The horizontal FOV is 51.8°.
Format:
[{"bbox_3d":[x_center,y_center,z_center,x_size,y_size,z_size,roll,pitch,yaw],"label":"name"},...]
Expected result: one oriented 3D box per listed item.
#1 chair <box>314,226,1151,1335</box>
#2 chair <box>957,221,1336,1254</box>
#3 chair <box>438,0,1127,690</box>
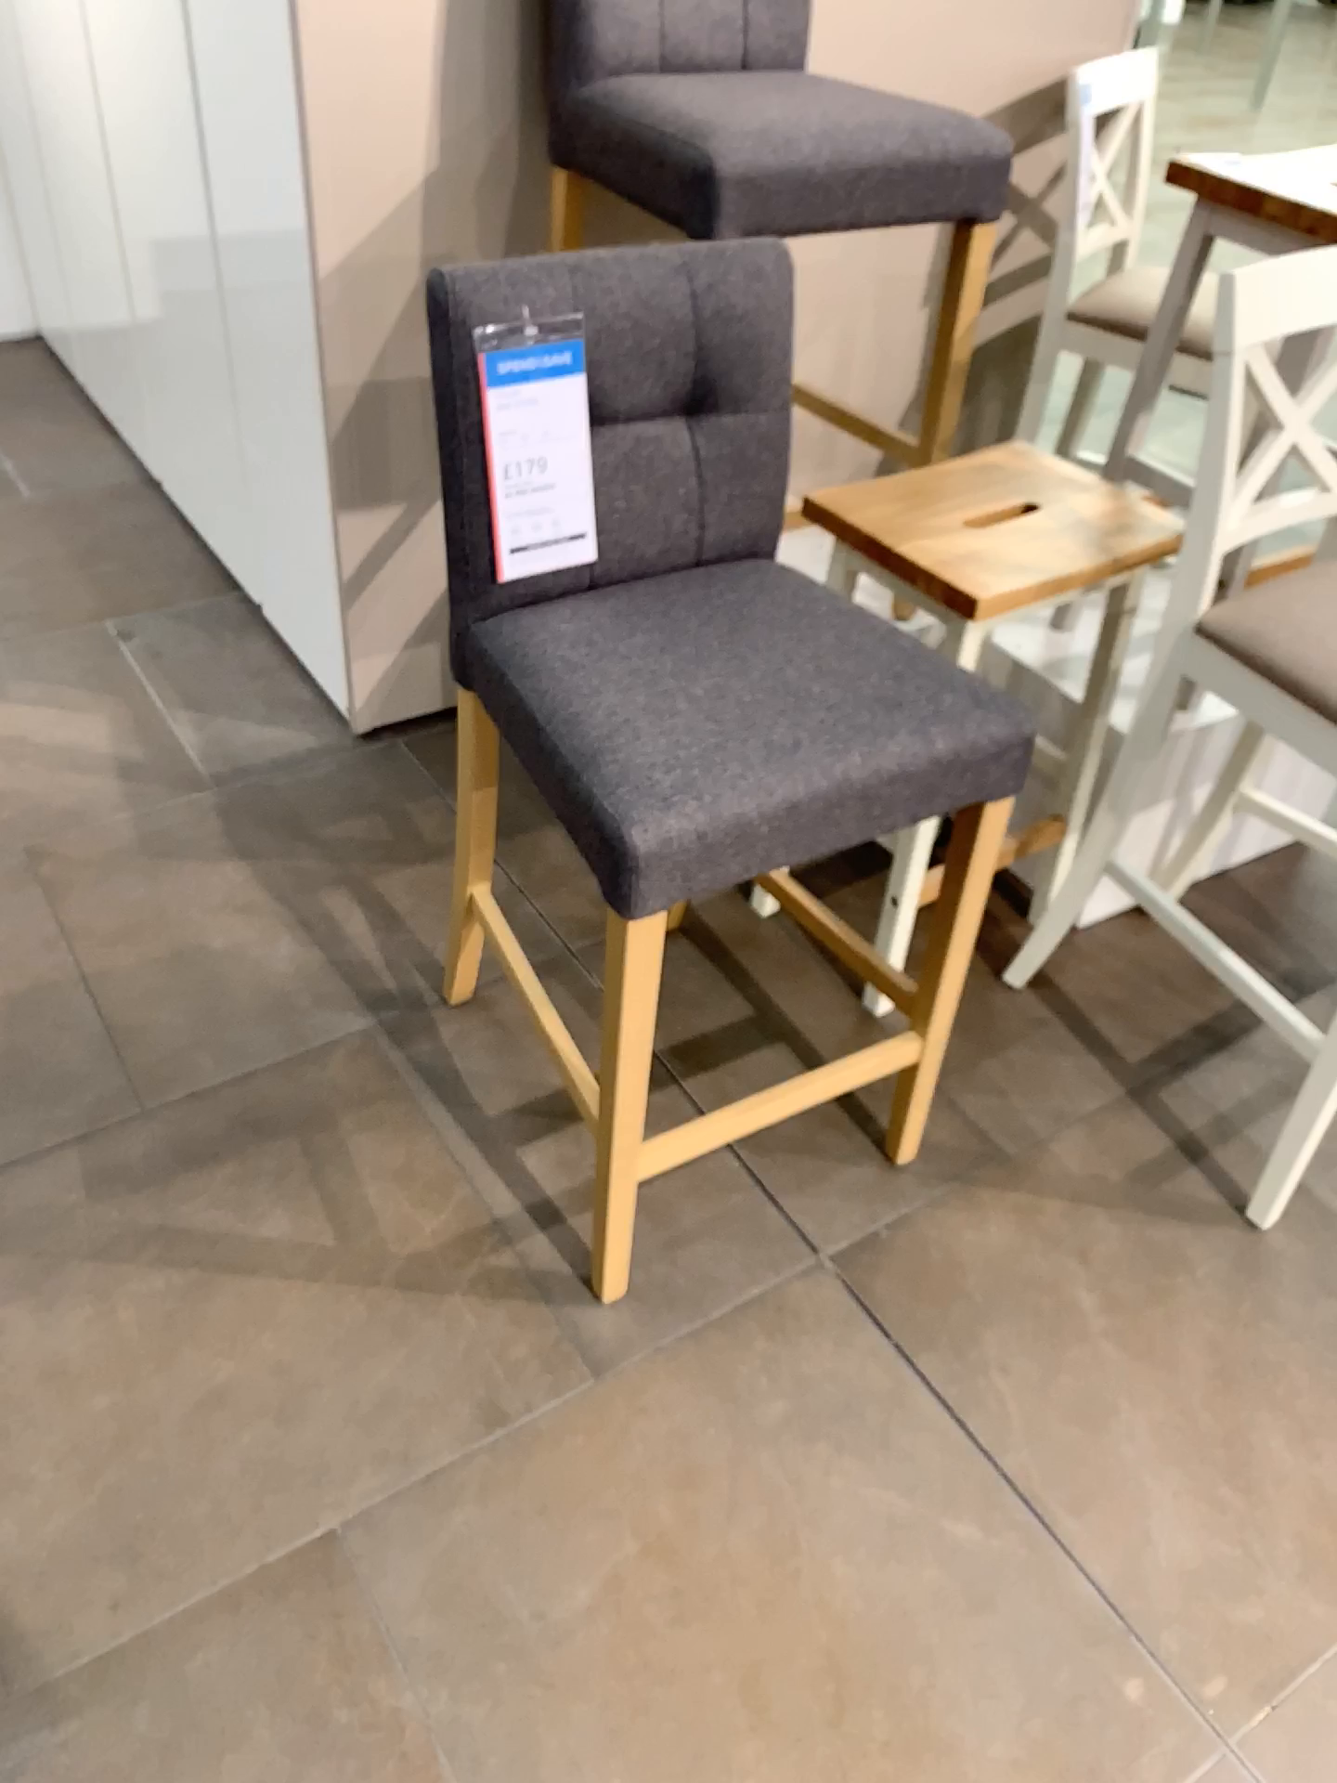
[{"bbox_3d":[0.005,-0.111,1.419,0.488,0.908,0.522,-19,45,-27],"label":"chair"},{"bbox_3d":[0.774,-0.167,1.553,0.508,0.938,0.502,-20,45,-27],"label":"chair"},{"bbox_3d":[0.084,-0.853,1.799,0.548,0.918,0.542,-20,45,-27],"label":"chair"}]
